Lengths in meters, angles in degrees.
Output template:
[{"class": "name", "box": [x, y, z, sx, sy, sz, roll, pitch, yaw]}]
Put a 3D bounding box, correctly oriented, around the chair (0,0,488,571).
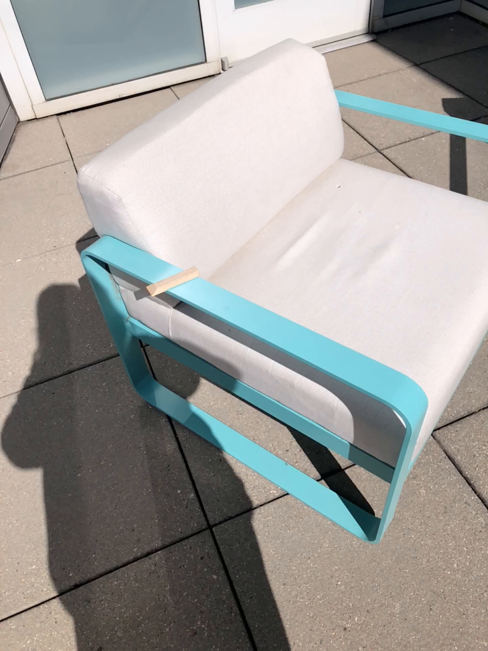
[{"class": "chair", "box": [0.161, -0.195, 1.271, 0.872, 0.767, 0.902, 24, 54, 25]}]
